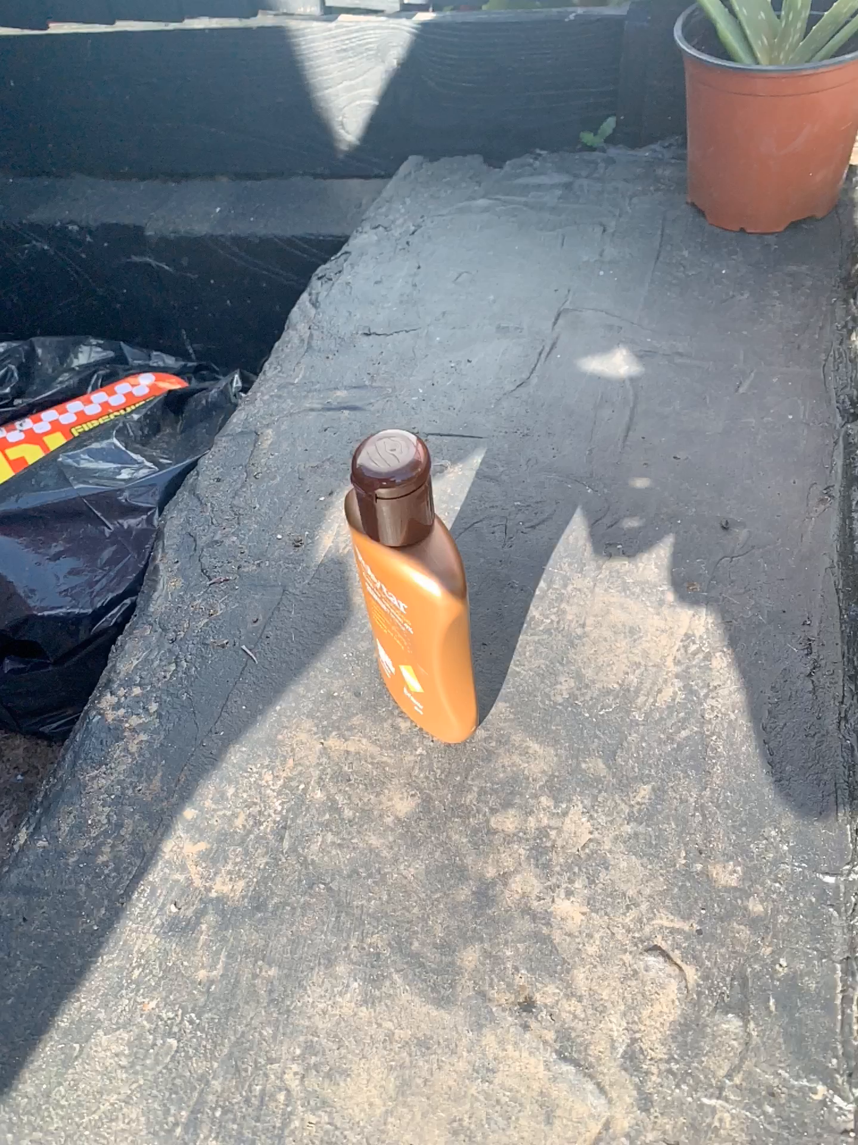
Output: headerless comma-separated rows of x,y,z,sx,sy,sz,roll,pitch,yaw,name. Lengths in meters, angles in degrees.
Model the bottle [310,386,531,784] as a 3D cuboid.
0.002,0.011,0.347,0.040,0.149,0.070,-31,53,-20,bottle
